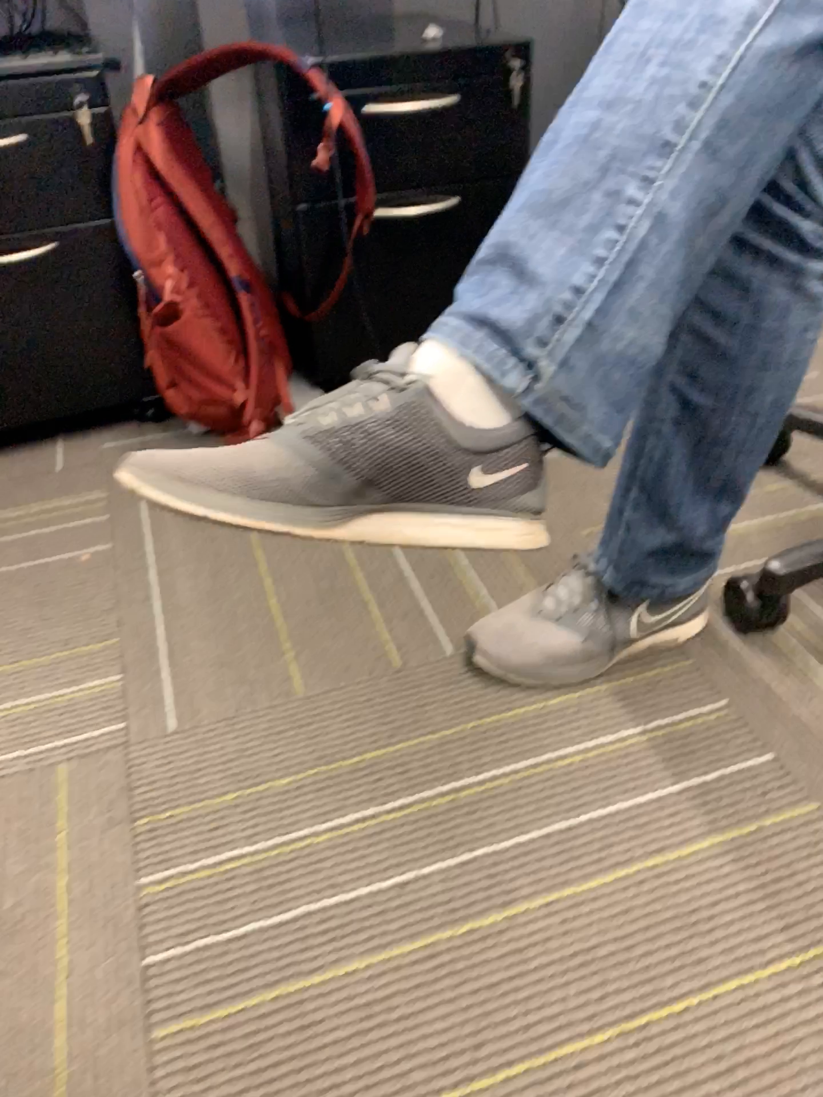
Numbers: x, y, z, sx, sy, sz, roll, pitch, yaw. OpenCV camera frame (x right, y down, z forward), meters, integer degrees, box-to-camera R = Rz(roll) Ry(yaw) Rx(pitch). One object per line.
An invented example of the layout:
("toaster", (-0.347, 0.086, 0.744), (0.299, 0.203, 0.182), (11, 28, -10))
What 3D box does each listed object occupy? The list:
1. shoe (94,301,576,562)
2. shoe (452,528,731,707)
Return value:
("shoe", (-0.048, -0.071, 0.587), (0.295, 0.143, 0.122), (2, -6, -6))
("shoe", (0.192, 0.071, 0.935), (0.269, 0.085, 0.120), (-12, 37, -12))
